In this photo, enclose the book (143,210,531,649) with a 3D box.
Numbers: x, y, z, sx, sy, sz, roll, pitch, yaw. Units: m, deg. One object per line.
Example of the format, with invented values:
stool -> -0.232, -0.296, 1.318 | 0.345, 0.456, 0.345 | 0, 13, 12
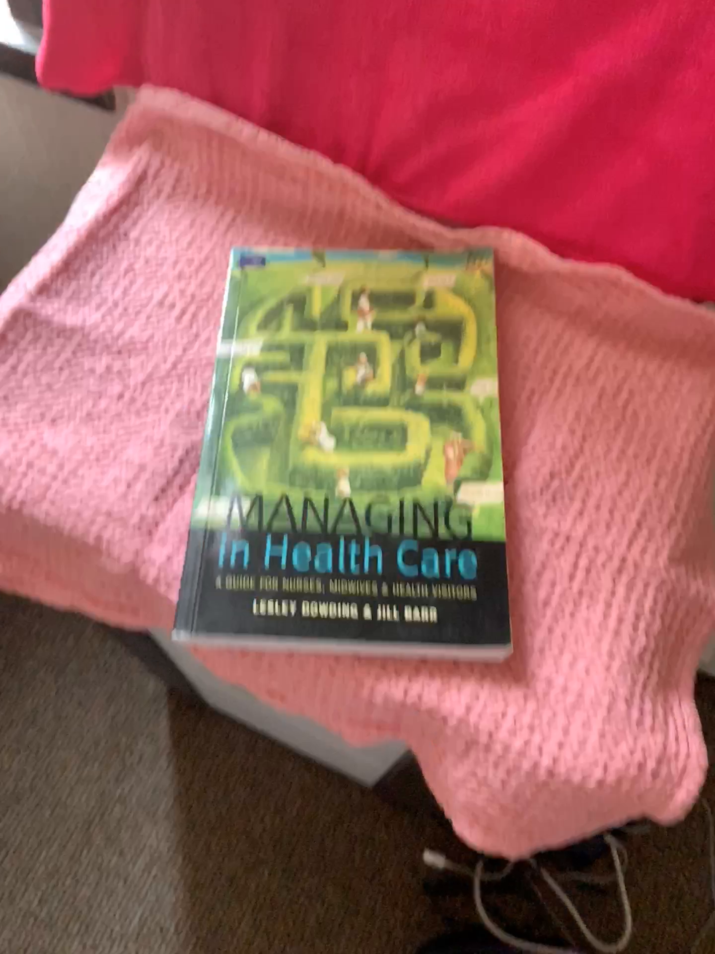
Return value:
book -> -0.004, -0.037, 0.386 | 0.170, 0.020, 0.241 | 3, 64, -1
